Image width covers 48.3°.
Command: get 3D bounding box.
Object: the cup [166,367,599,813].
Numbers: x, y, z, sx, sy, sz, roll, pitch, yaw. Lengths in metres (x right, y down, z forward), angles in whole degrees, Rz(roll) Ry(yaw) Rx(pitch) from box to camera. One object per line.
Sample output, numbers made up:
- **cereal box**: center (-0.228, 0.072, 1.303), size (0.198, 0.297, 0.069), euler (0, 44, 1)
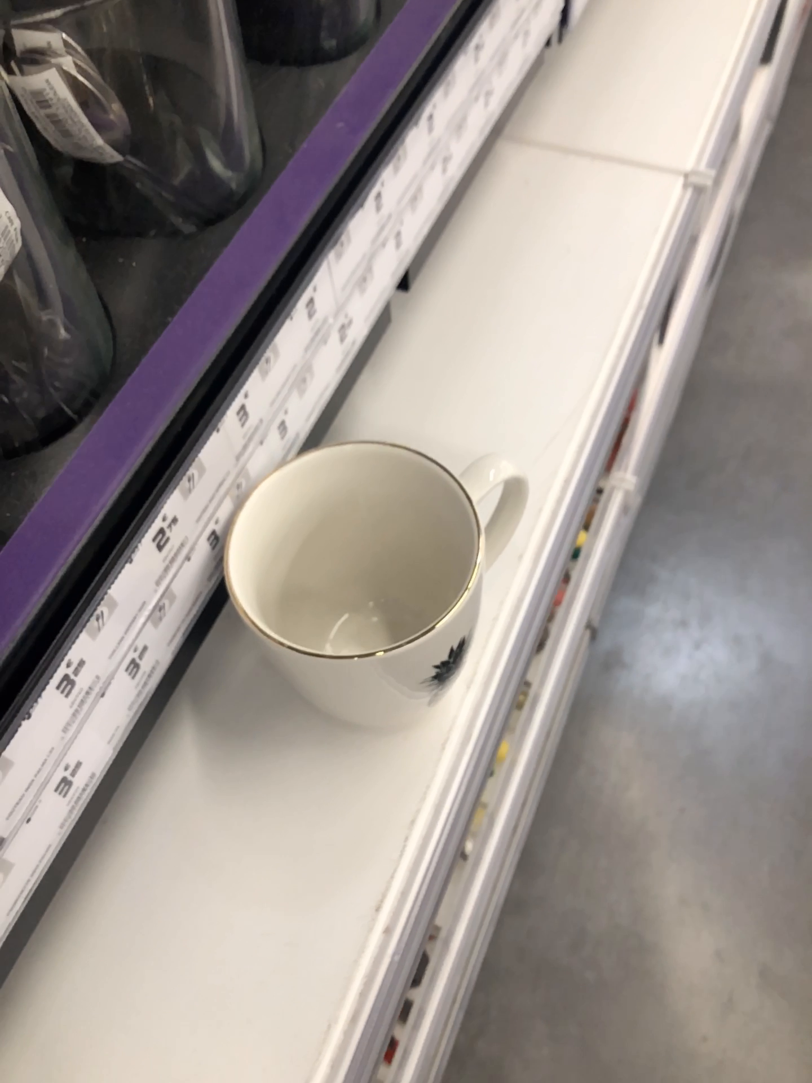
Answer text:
- **cup**: center (-0.005, 0.020, 0.334), size (0.115, 0.093, 0.082), euler (-37, 65, -16)
